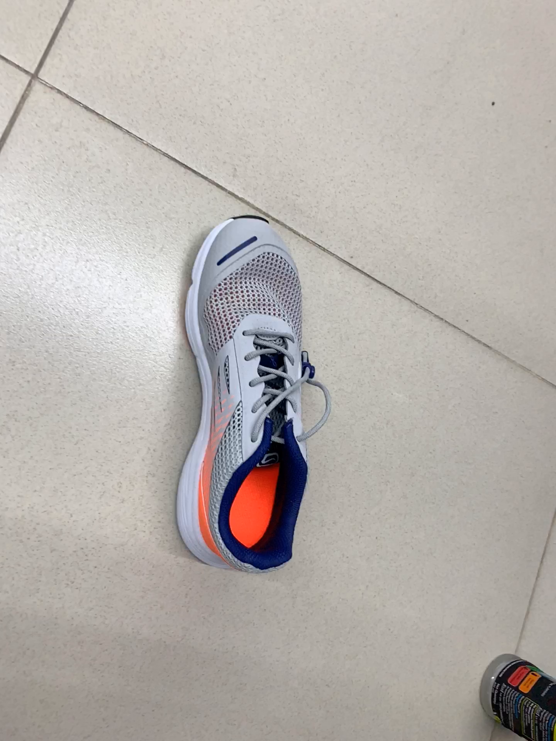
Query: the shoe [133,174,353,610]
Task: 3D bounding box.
[{"bbox_3d":[-0.028,0.015,0.391,0.100,0.100,0.250,5,89,-26],"label":"shoe"}]
